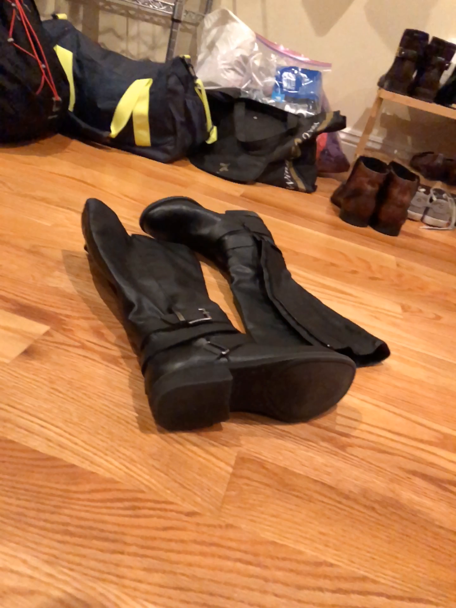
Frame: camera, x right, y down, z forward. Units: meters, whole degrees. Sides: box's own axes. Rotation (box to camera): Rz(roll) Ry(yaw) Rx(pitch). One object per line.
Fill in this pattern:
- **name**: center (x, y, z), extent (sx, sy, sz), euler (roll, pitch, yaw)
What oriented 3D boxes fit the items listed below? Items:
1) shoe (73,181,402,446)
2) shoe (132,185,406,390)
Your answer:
- **shoe**: center (-0.029, -0.017, 0.641), extent (0.290, 0.104, 0.405), euler (3, 31, -23)
- **shoe**: center (0.023, -0.043, 0.716), extent (0.250, 0.094, 0.395), euler (4, 30, -22)
